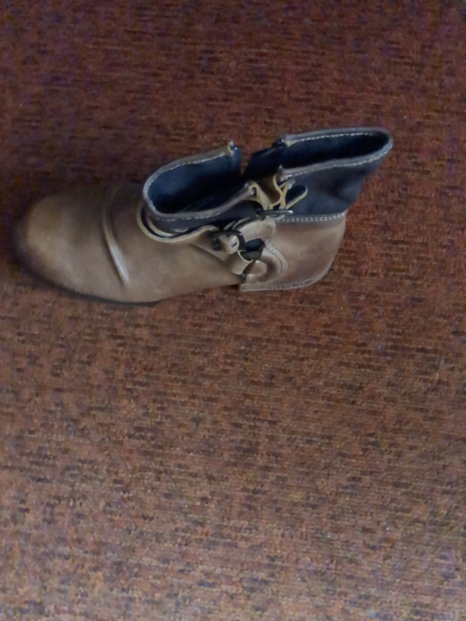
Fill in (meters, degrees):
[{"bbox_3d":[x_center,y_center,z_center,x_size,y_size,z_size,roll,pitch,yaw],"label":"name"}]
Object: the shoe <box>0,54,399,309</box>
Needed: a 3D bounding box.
[{"bbox_3d":[-0.050,-0.074,0.380,0.280,0.190,0.110,0,79,1],"label":"shoe"}]
